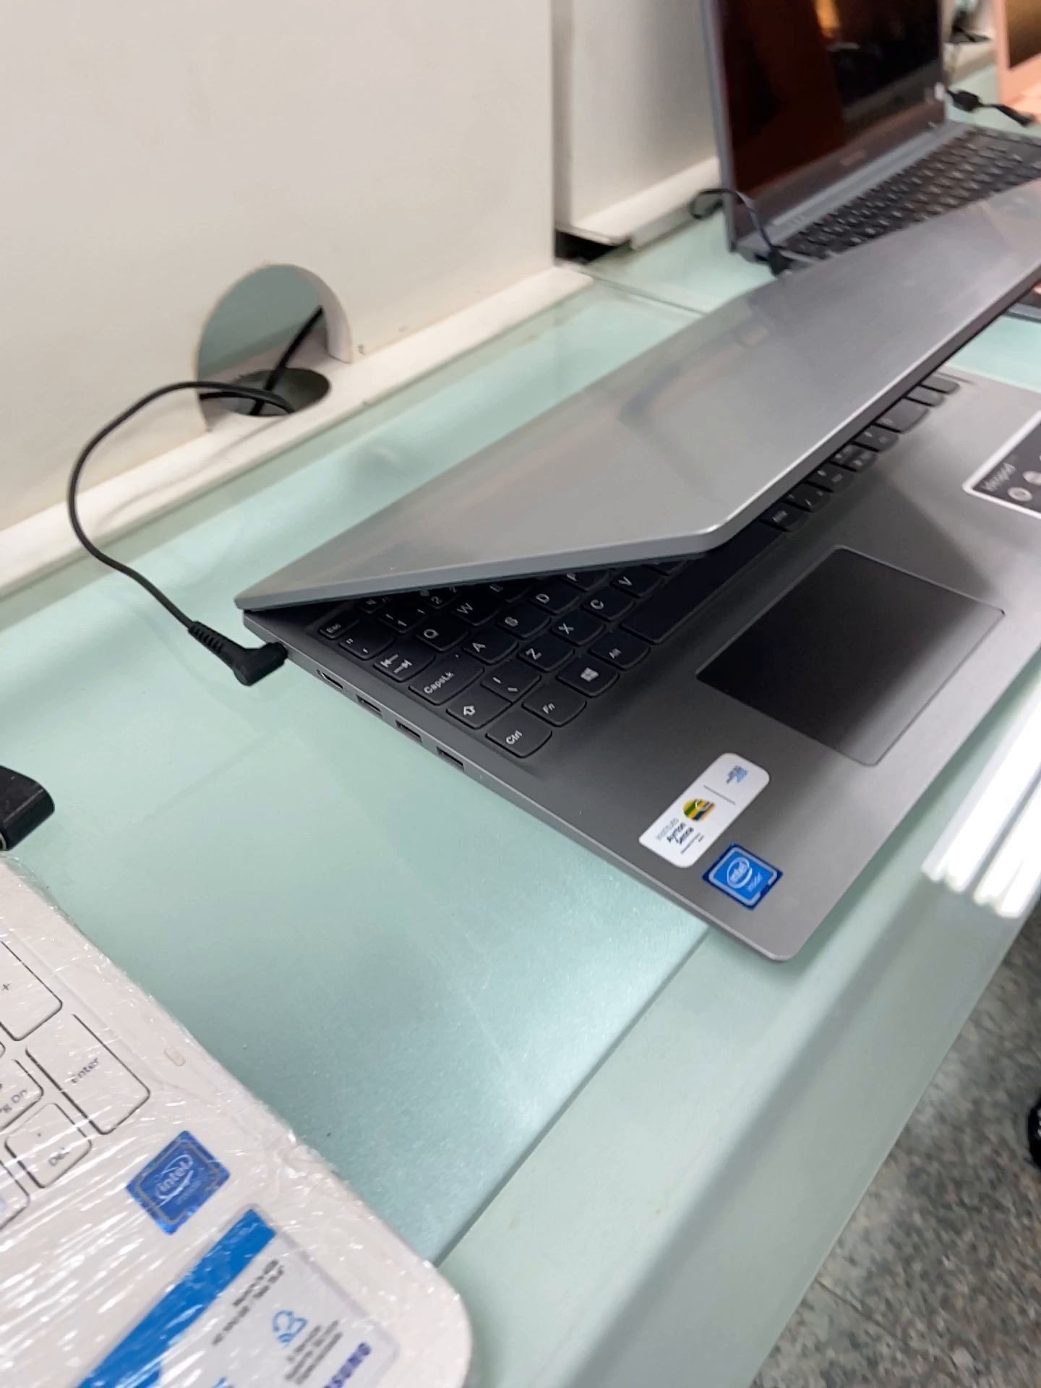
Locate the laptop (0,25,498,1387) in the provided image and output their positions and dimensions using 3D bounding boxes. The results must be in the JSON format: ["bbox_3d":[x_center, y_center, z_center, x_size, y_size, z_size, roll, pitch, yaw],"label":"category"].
[{"bbox_3d":[-0.282,0.083,0.154,0.383,0.202,0.411,31,52,31],"label":"laptop"}]

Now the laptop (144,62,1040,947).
[{"bbox_3d":[0.095,-0.124,0.422,0.250,0.127,0.365,29,50,30],"label":"laptop"}]
